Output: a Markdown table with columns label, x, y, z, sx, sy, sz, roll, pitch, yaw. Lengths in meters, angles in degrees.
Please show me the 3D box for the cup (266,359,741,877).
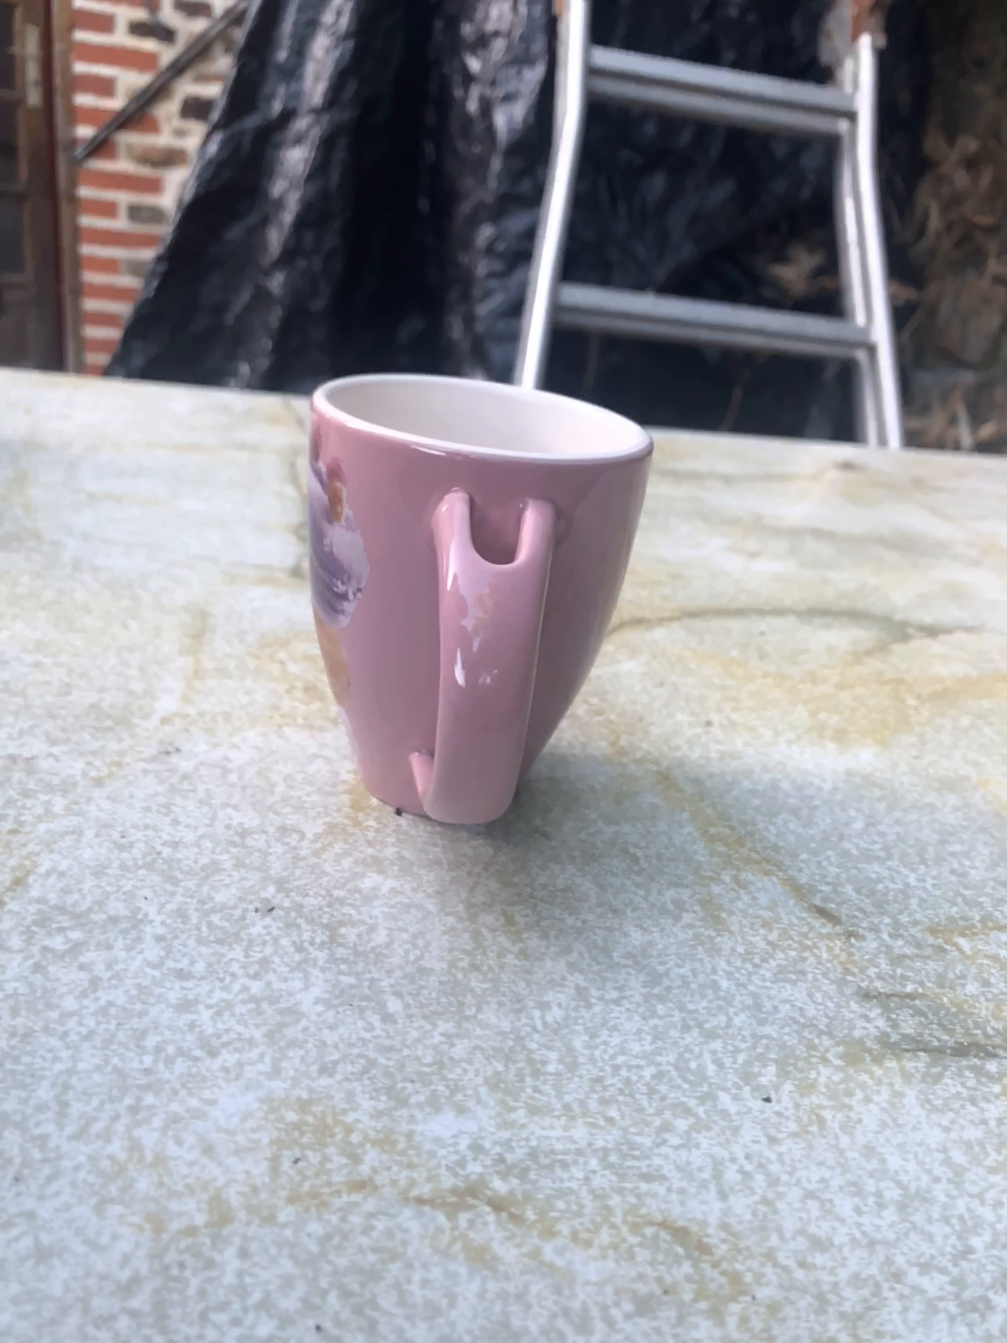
| label | x | y | z | sx | sy | sz | roll | pitch | yaw |
| --- | --- | --- | --- | --- | --- | --- | --- | --- | --- |
| cup | -0.002 | -0.019 | 0.254 | 0.080 | 0.080 | 0.099 | 6 | 23 | -2 |
